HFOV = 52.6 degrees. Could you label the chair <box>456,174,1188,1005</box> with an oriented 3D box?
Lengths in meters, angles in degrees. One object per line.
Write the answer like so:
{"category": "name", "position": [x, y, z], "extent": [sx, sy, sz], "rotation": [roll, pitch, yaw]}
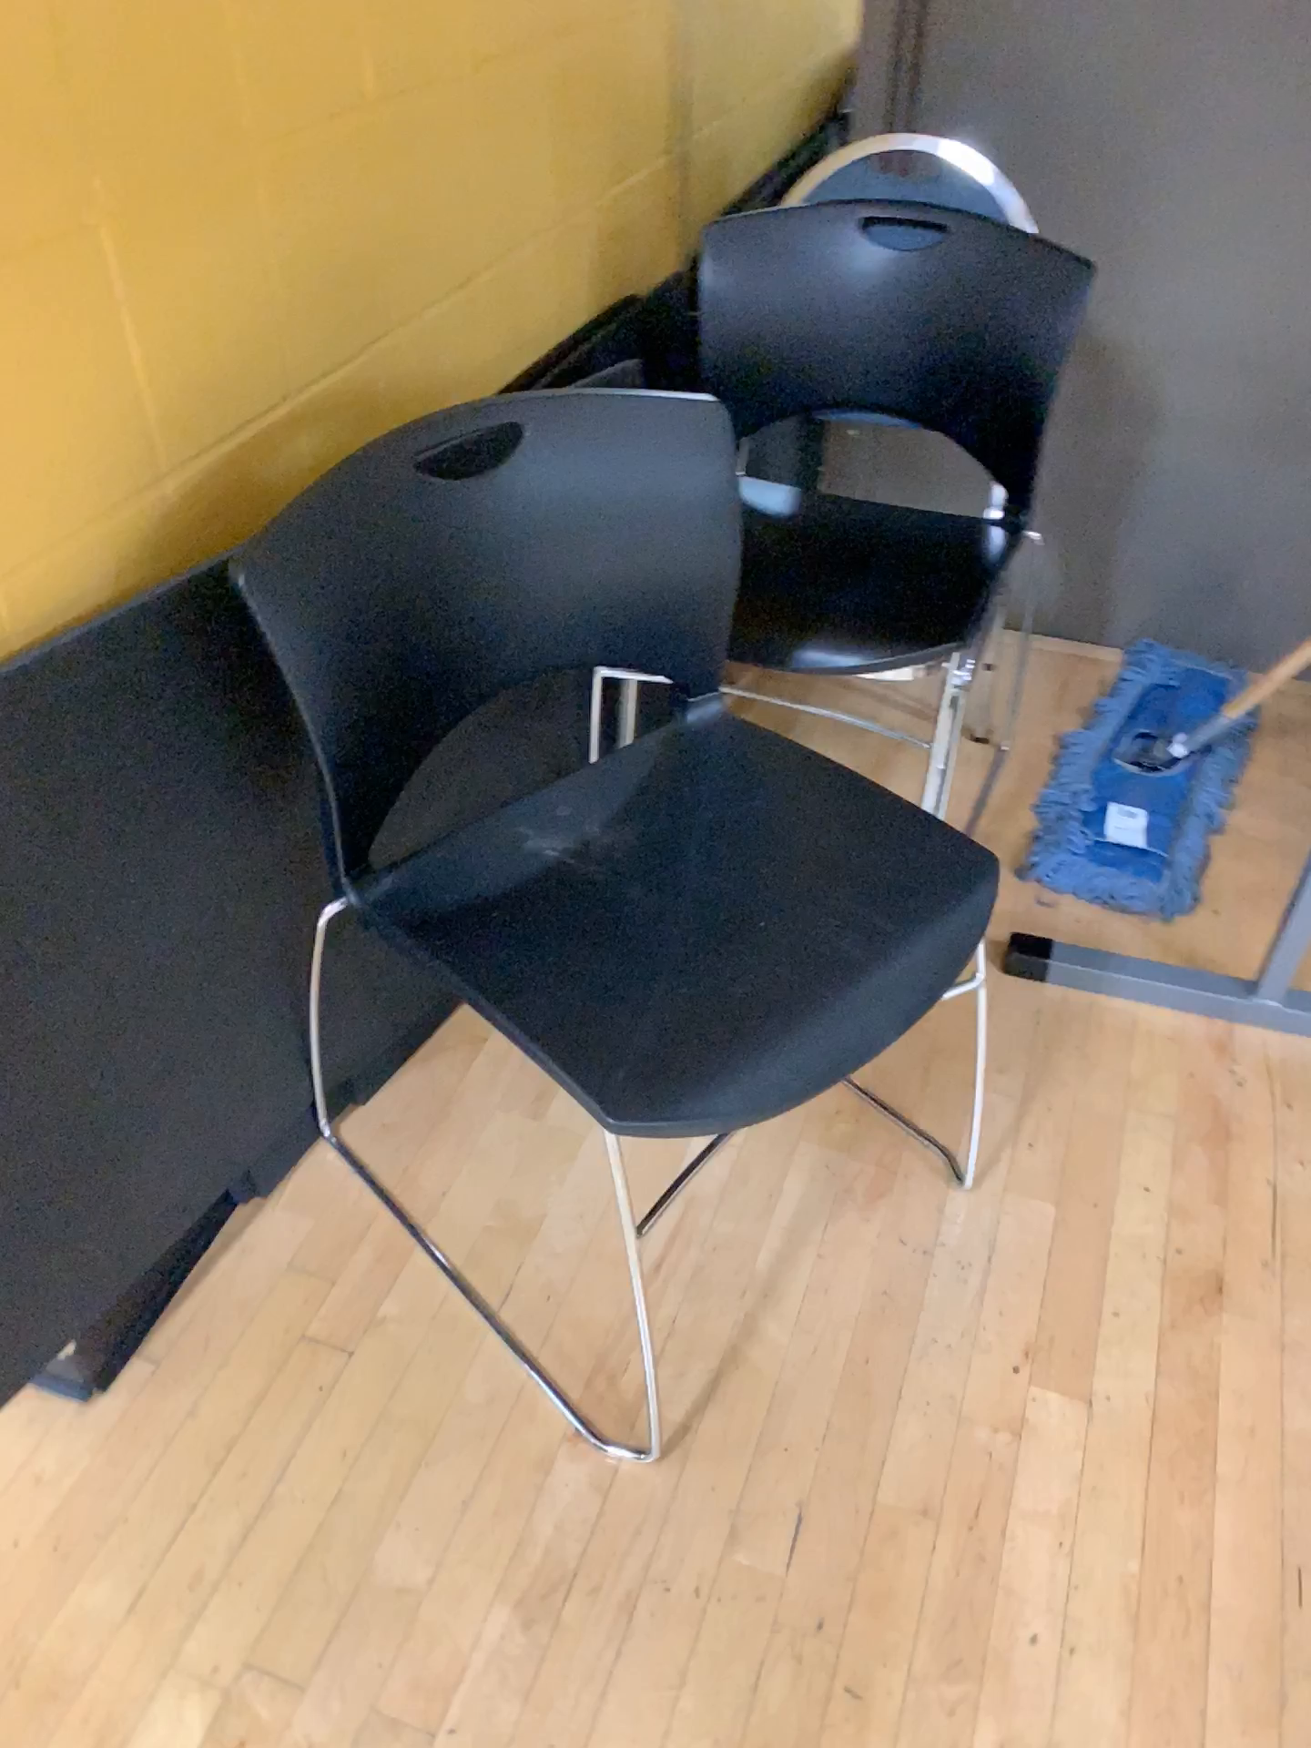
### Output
{"category": "chair", "position": [0.244, -0.441, 1.849], "extent": [0.676, 0.762, 0.779], "rotation": [16, 42, 18]}

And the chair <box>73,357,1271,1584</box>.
{"category": "chair", "position": [-0.006, 0.026, 1.291], "extent": [0.638, 0.722, 0.728], "rotation": [-30, 49, -32]}
